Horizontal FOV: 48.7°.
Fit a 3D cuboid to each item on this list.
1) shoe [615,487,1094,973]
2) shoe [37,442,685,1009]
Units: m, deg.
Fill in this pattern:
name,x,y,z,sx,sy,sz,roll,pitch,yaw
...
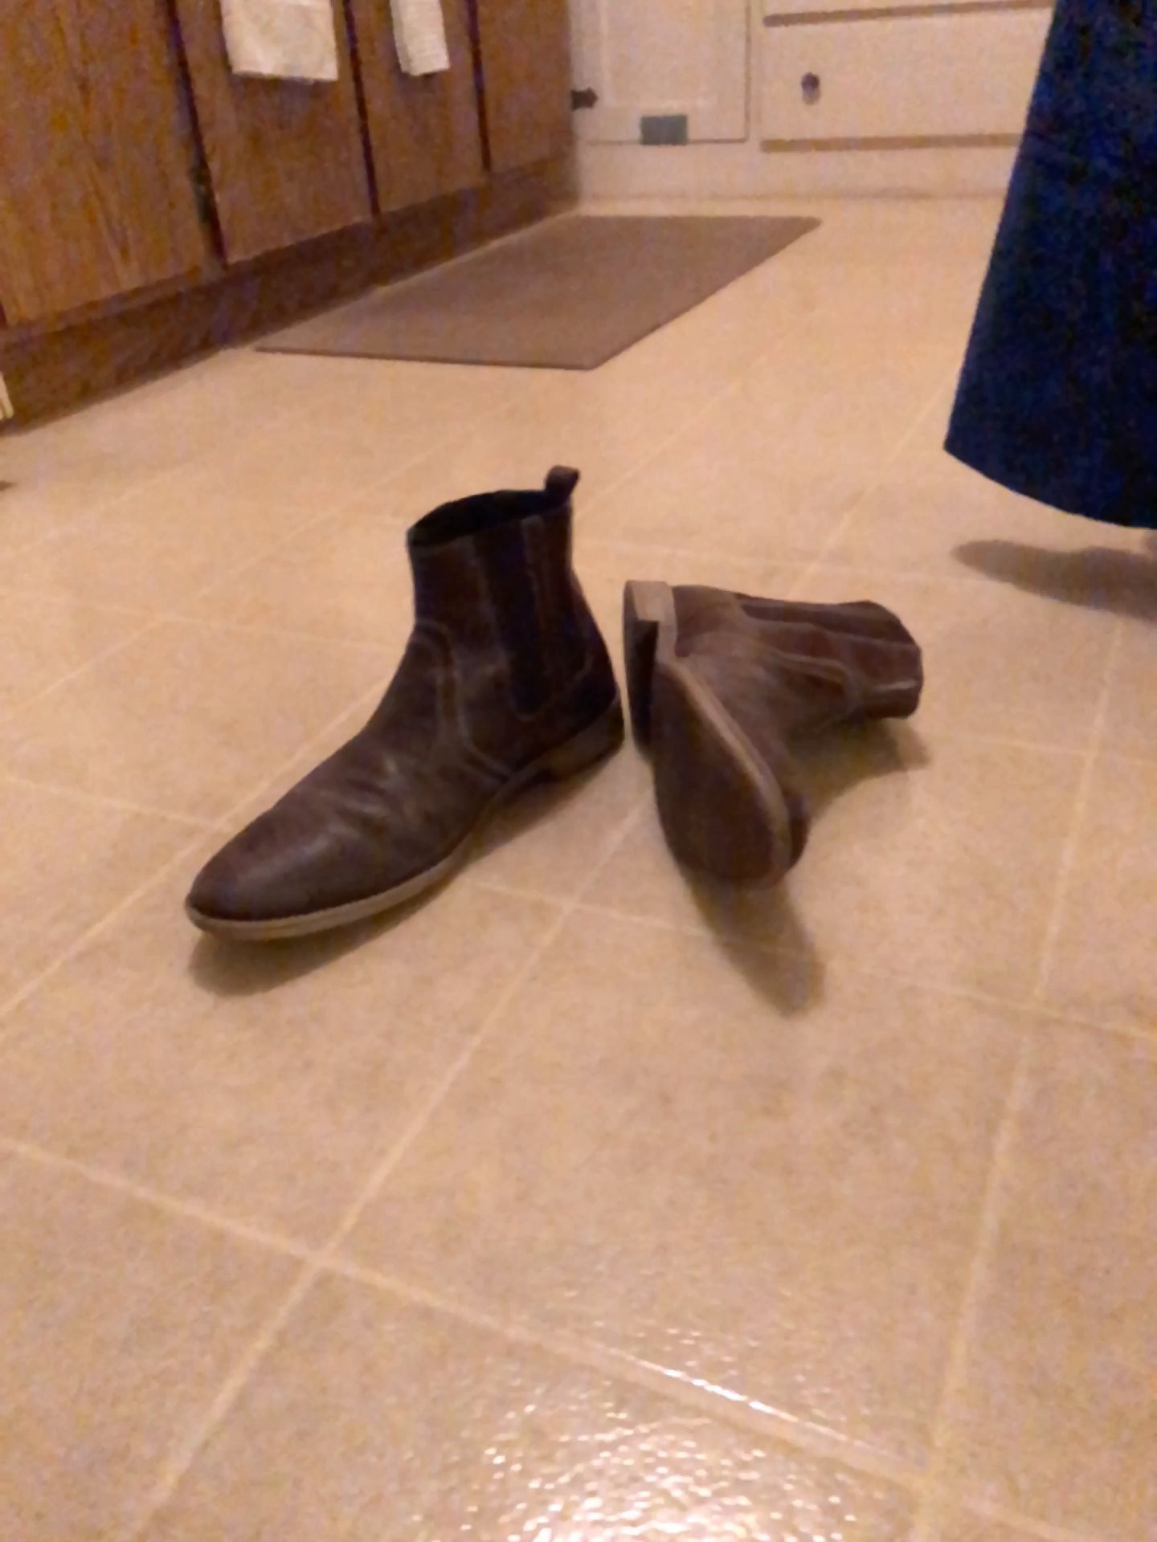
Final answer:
name,x,y,z,sx,sy,sz,roll,pitch,yaw
shoe,0.123,-0.043,0.697,0.161,0.111,0.315,-5,32,-4
shoe,-0.089,-0.043,0.674,0.111,0.160,0.314,24,42,38
